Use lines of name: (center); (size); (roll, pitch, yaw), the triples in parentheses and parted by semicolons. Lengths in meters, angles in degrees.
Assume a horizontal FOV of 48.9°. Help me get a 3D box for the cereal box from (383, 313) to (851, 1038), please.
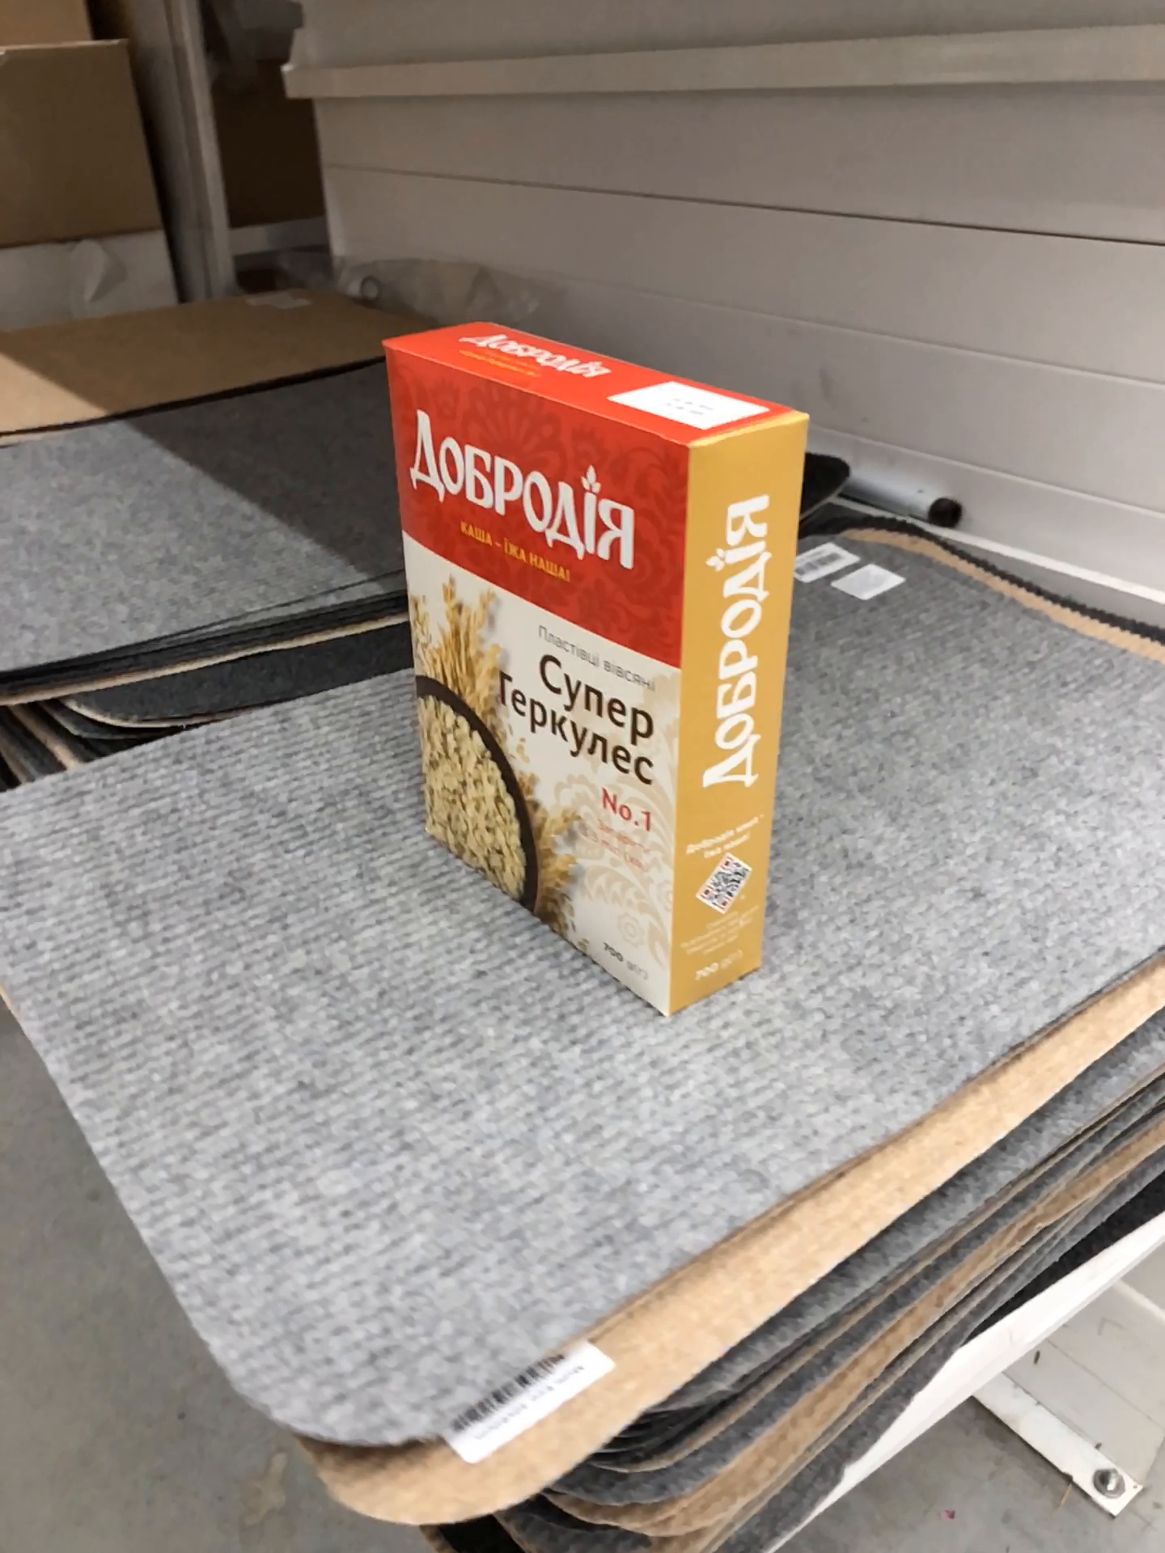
cereal box: (0.005, -0.045, 0.504); (0.060, 0.228, 0.181); (-23, 37, -33)
